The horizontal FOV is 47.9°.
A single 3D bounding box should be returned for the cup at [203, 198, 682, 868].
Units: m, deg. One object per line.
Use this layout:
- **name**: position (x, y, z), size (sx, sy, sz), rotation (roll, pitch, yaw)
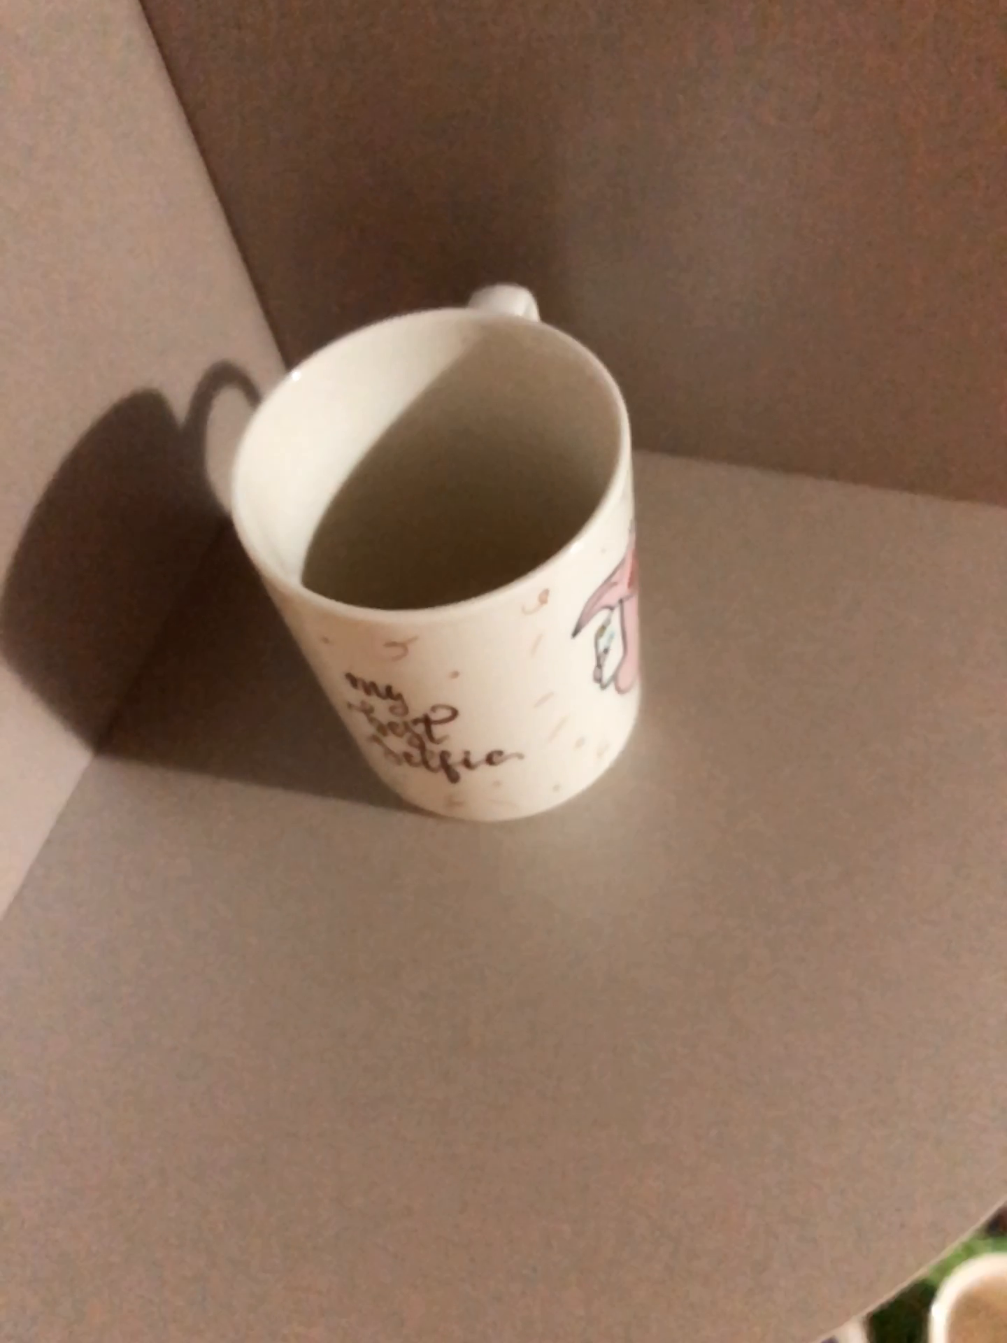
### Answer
- **cup**: position (-0.007, -0.029, 0.273), size (0.086, 0.096, 0.119), rotation (-5, 58, 6)
